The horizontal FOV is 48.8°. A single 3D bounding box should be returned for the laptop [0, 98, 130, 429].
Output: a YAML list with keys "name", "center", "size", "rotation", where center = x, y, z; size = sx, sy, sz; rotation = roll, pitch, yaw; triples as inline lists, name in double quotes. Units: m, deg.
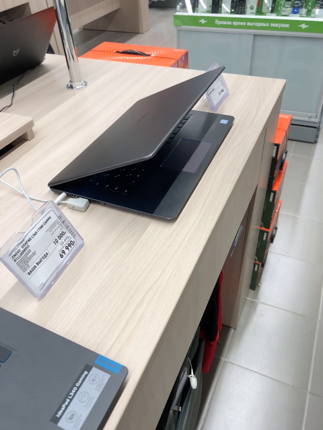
- name: "laptop"
  center: [-0.284, 0.123, 0.219]
  size: [0.377, 0.231, 0.349]
  rotation: [13, 42, 18]

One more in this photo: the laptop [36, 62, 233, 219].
- name: "laptop"
  center: [-0.022, -0.166, 0.666]
  size: [0.221, 0.099, 0.346]
  rotation: [15, 44, 18]
